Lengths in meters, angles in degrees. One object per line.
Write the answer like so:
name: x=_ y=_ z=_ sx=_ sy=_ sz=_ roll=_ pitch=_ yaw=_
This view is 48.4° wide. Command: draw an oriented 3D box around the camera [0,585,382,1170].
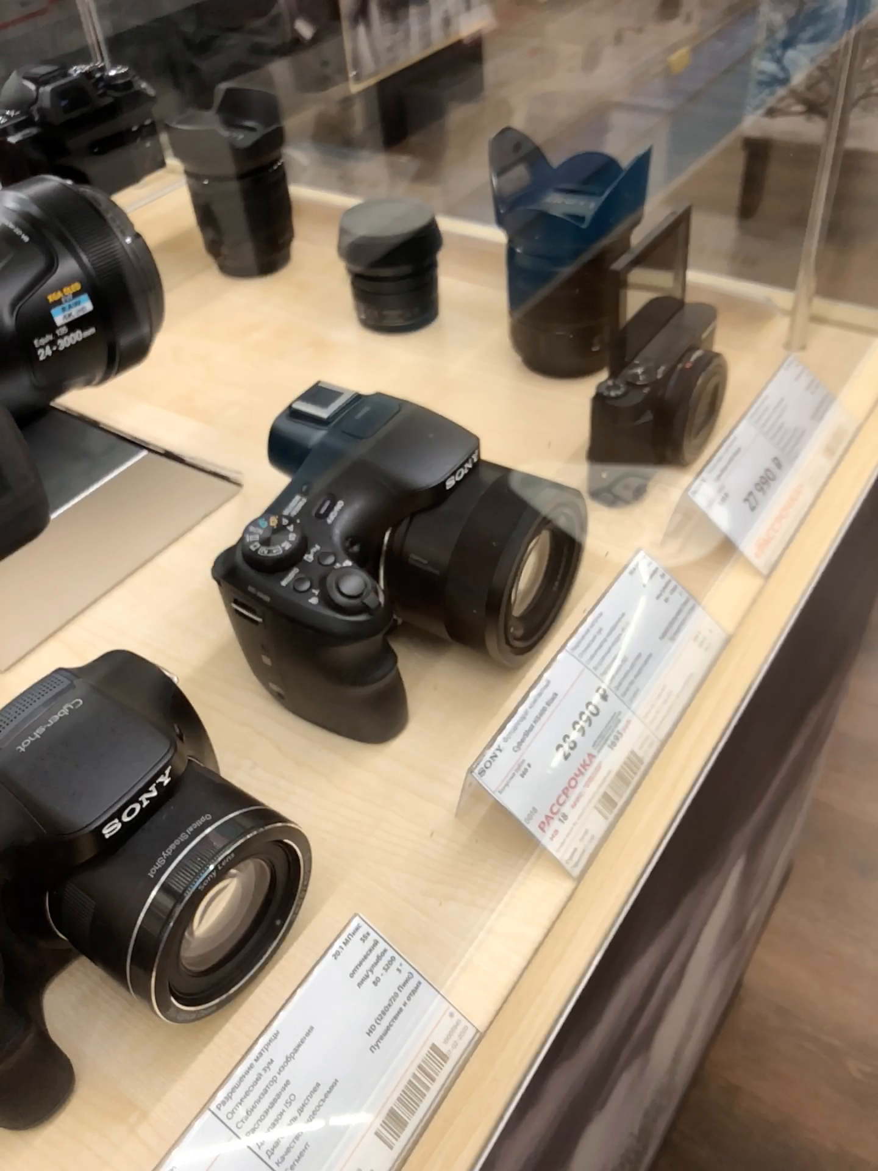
camera: x=-0.095 y=0.079 z=0.281 sx=0.096 sy=0.073 sz=0.122 roll=22 pitch=50 yaw=27

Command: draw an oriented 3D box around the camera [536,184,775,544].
camera: x=0.102 y=-0.107 z=0.466 sx=0.056 sy=0.113 sz=0.125 roll=22 pitch=50 yaw=27

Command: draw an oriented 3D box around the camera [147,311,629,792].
camera: x=-0.010 y=-0.021 z=0.361 sx=0.104 sy=0.086 sz=0.138 roll=22 pitch=50 yaw=27
